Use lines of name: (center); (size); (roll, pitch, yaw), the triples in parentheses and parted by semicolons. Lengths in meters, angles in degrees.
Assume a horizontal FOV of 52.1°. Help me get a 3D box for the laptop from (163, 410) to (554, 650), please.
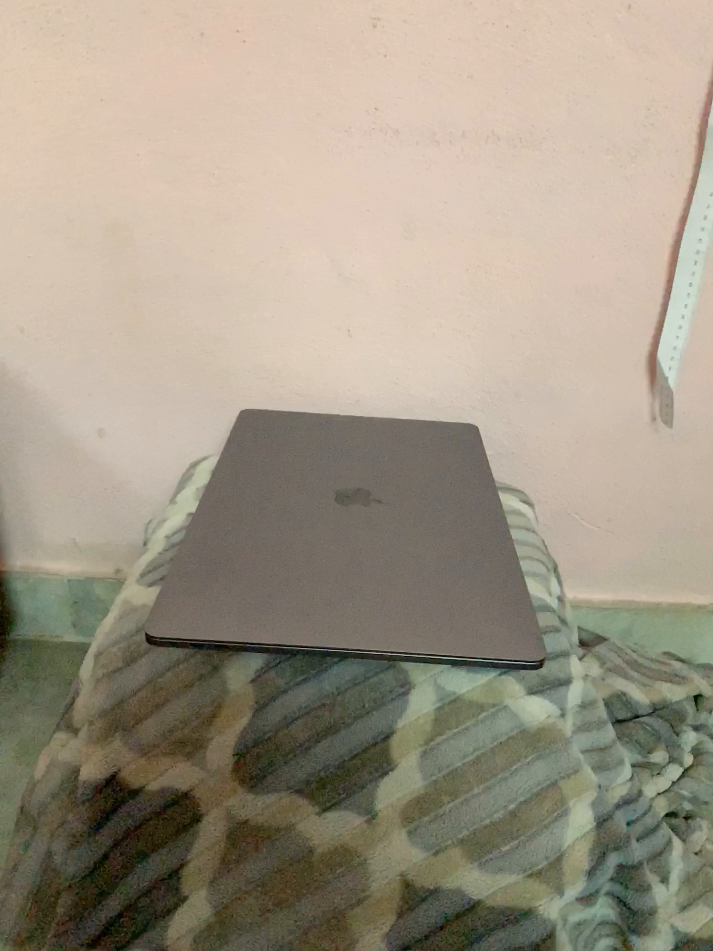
laptop: (0.006, 0.018, 0.570); (0.228, 0.002, 0.327); (2, 28, 2)
